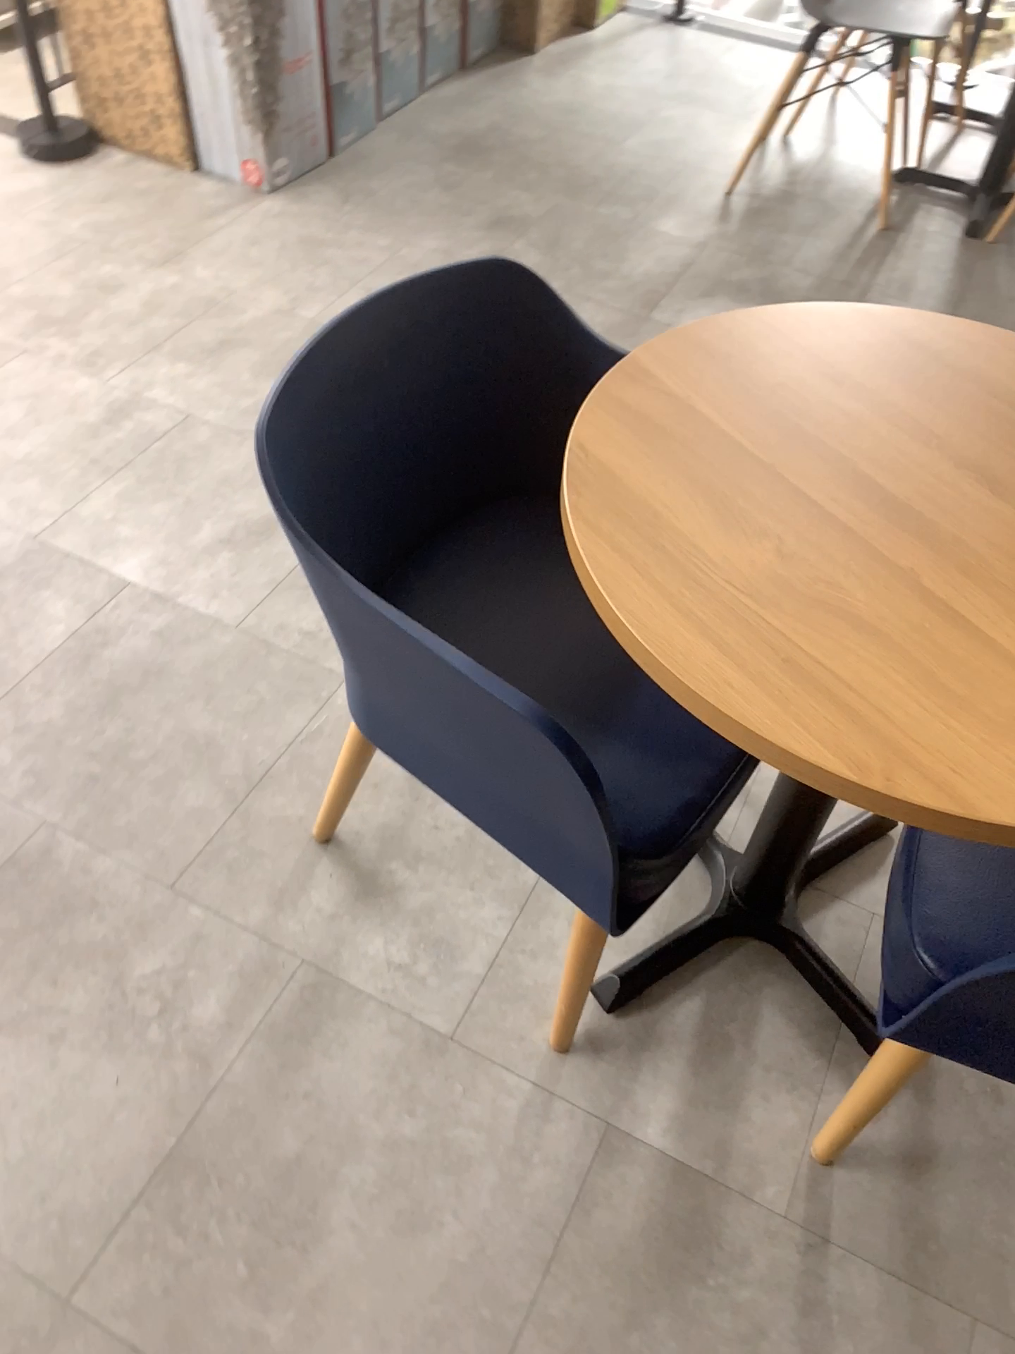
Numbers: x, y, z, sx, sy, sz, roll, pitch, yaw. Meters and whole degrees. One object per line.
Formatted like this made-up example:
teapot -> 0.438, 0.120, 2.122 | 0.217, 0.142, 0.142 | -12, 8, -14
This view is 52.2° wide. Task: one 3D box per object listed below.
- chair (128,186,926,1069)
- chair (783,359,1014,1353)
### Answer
chair -> 0.024, -0.053, 1.263 | 0.548, 0.735, 0.565 | 28, 52, 19
chair -> 0.717, 0.221, 1.039 | 0.557, 0.735, 0.566 | 22, 50, 15
